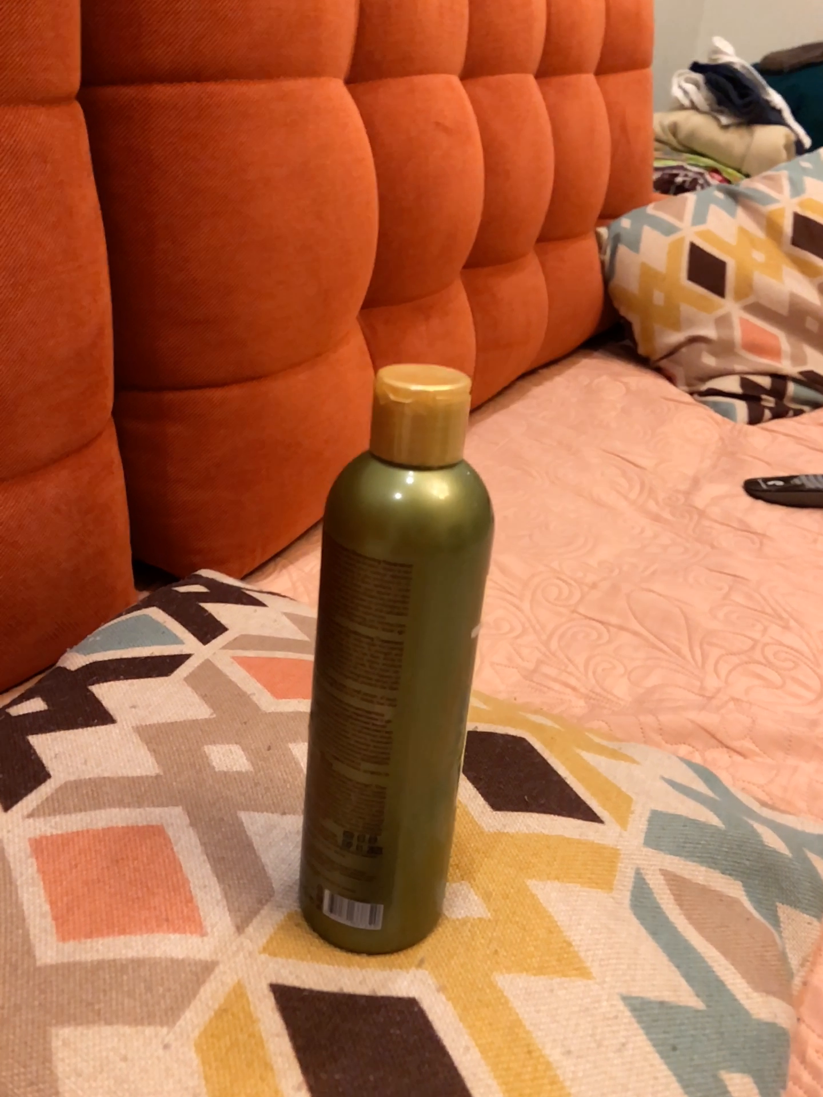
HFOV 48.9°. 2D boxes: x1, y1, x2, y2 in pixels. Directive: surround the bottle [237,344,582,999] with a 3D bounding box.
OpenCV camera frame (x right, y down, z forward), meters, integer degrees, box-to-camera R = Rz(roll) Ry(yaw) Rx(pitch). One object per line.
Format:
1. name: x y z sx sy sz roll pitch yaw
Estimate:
1. bottle: -0.008 0.036 0.277 0.070 0.179 0.060 -14 30 -35
